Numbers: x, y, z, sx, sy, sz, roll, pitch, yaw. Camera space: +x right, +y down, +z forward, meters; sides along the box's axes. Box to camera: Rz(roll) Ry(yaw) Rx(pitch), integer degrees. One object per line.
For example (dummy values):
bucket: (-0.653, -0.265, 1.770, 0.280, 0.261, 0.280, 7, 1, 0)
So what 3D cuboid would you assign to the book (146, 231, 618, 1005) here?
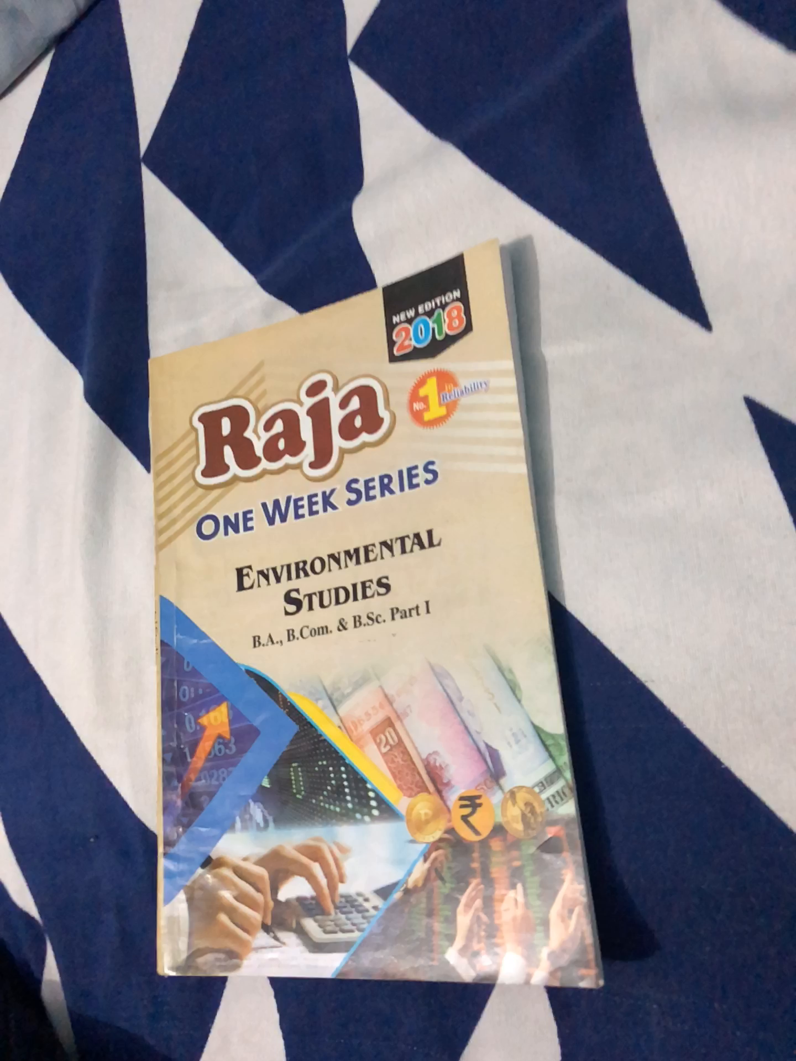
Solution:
book: (-0.020, 0.026, 0.264, 0.141, 0.010, 0.200, -13, 73, 28)
